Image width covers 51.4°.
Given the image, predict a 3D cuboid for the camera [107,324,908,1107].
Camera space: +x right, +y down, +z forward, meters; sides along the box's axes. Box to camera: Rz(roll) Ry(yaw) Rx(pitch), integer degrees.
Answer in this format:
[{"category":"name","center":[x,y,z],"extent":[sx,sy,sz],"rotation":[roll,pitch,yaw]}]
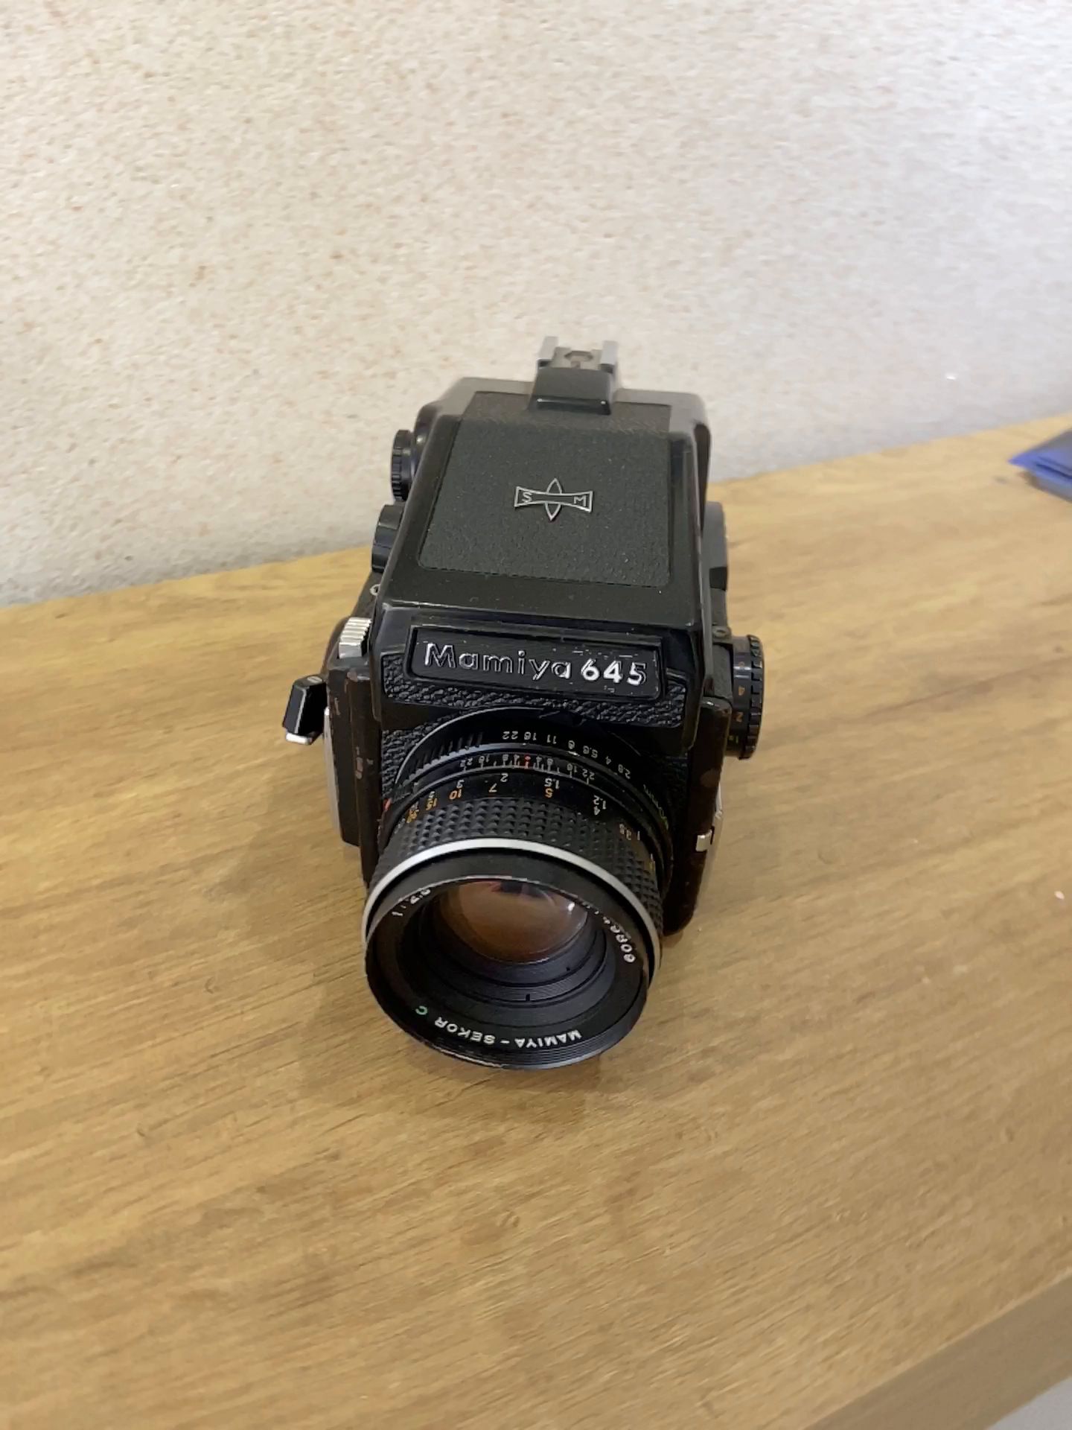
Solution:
[{"category":"camera","center":[0.003,-0.014,0.275],"extent":[0.130,0.109,0.161],"rotation":[5,36,5]}]
